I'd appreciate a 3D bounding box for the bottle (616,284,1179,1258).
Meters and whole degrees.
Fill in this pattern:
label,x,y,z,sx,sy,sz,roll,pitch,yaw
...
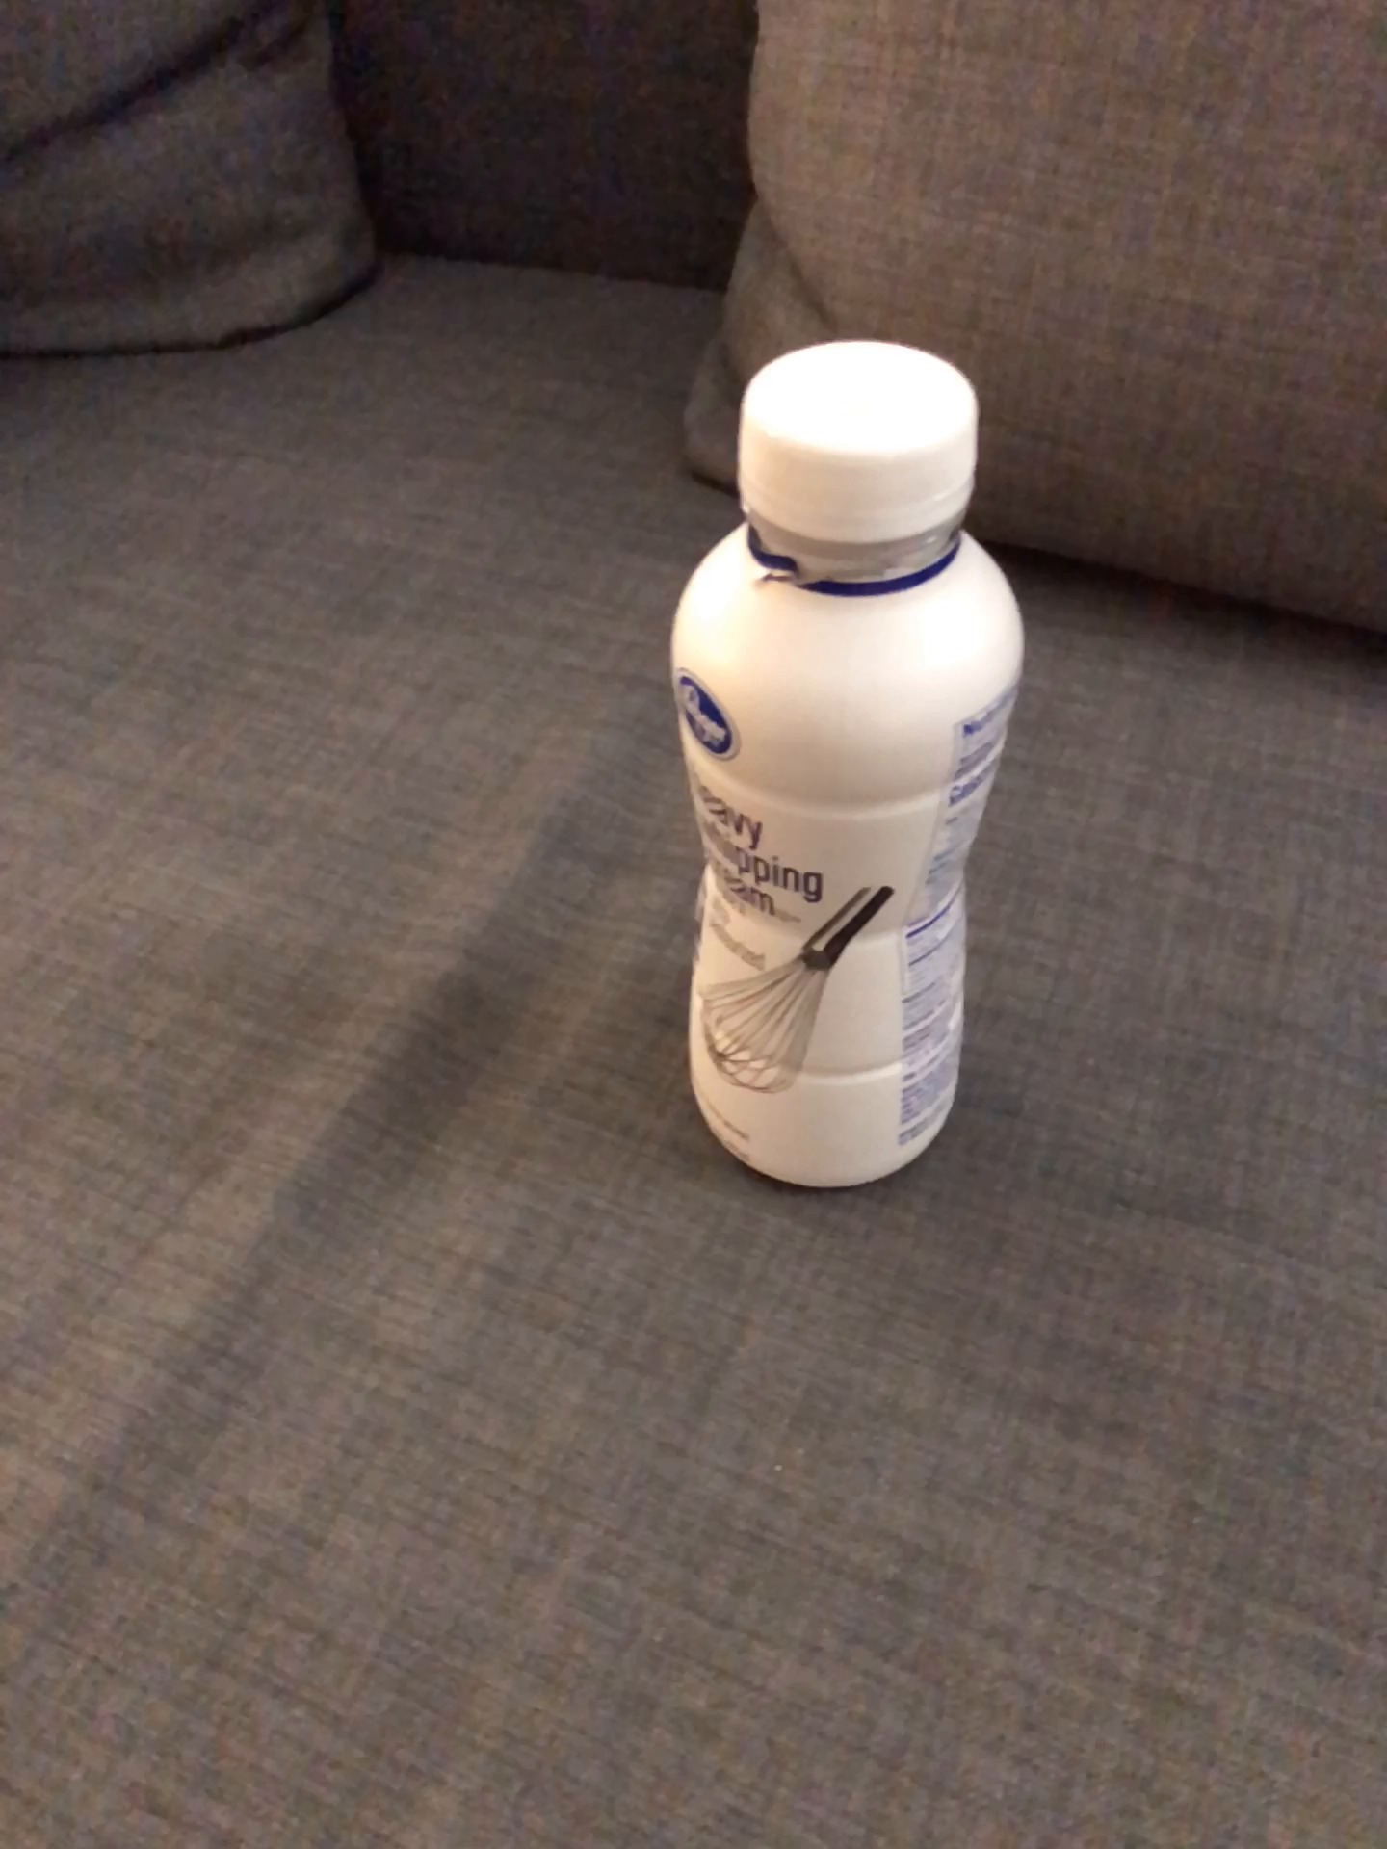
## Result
label,x,y,z,sx,sy,sz,roll,pitch,yaw
bottle,0.037,-0.022,0.328,0.070,0.189,0.070,-2,44,2
